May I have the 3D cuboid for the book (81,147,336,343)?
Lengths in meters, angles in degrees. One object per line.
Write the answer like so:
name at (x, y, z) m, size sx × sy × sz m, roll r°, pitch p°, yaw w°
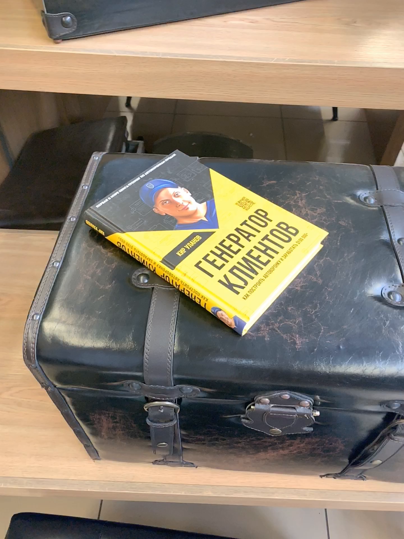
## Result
book at (0.005, -0.047, 0.486) m, size 0.242 × 0.030 × 0.167 m, roll 33°, pitch 58°, yaw 24°
